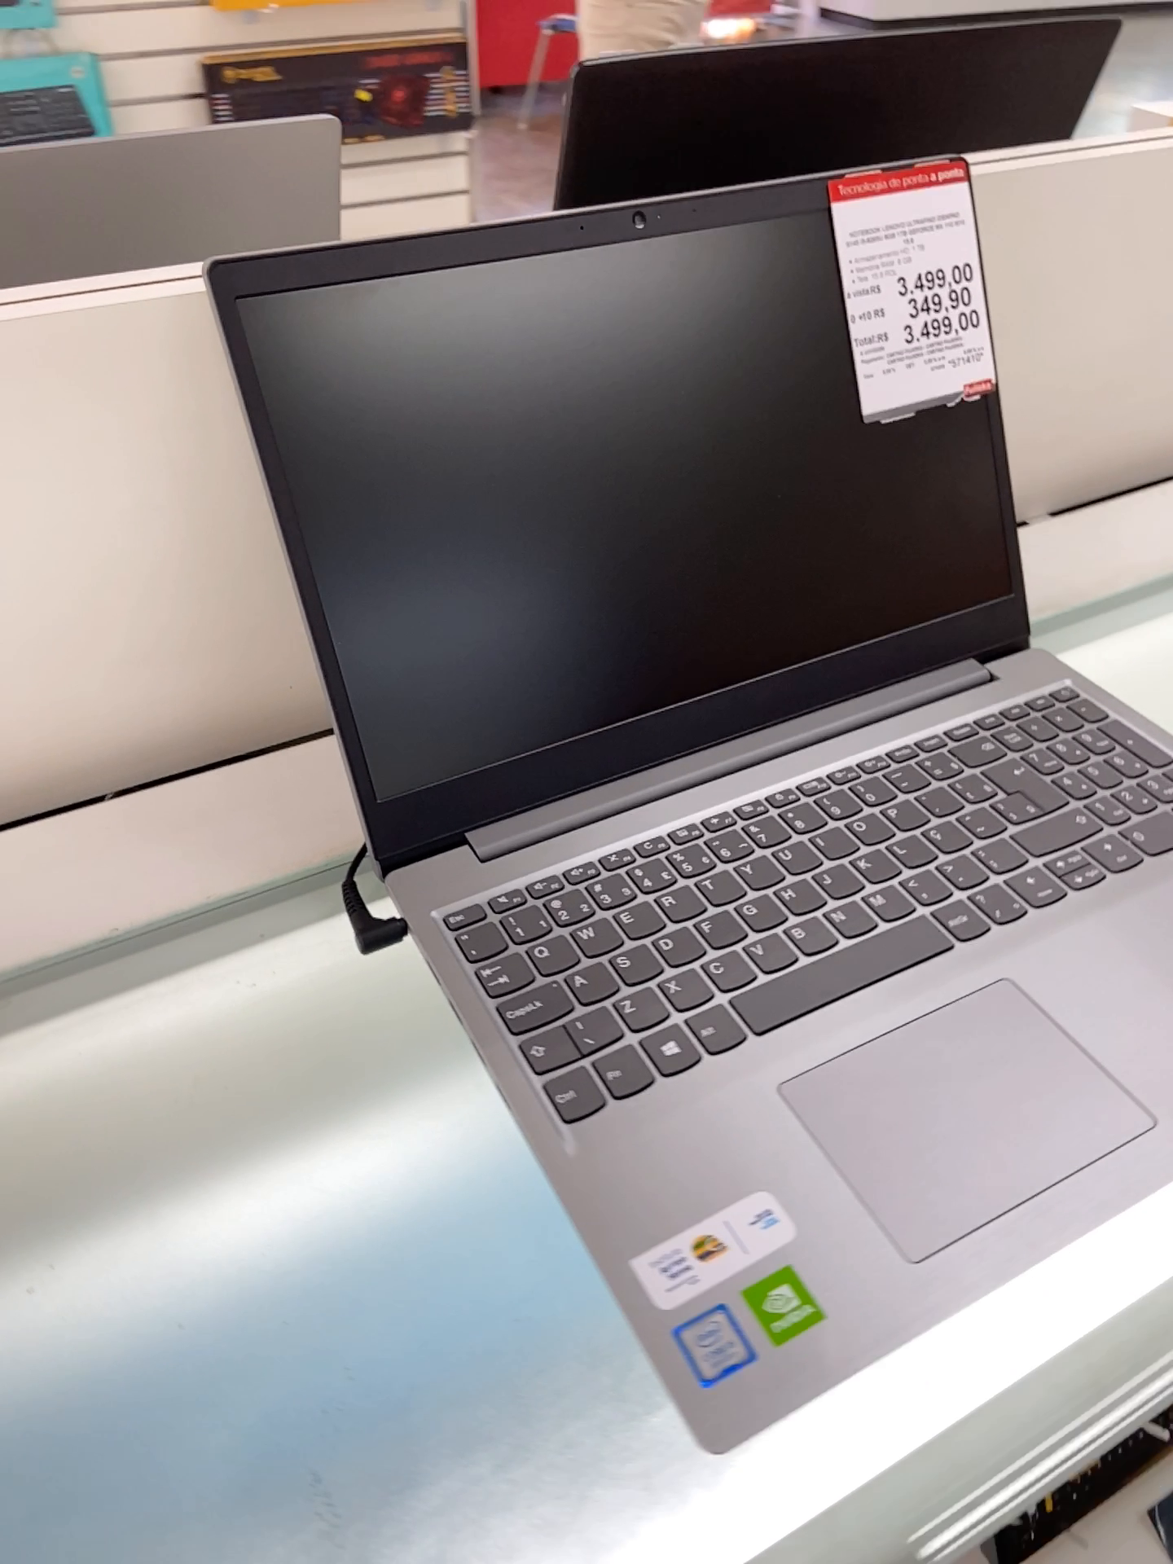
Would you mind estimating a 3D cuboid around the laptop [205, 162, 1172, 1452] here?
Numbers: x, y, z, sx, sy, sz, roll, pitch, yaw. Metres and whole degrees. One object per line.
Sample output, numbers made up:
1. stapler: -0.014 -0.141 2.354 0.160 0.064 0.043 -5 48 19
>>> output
1. laptop: 0.107 -0.058 0.444 0.360 0.201 0.367 -18 44 -22
